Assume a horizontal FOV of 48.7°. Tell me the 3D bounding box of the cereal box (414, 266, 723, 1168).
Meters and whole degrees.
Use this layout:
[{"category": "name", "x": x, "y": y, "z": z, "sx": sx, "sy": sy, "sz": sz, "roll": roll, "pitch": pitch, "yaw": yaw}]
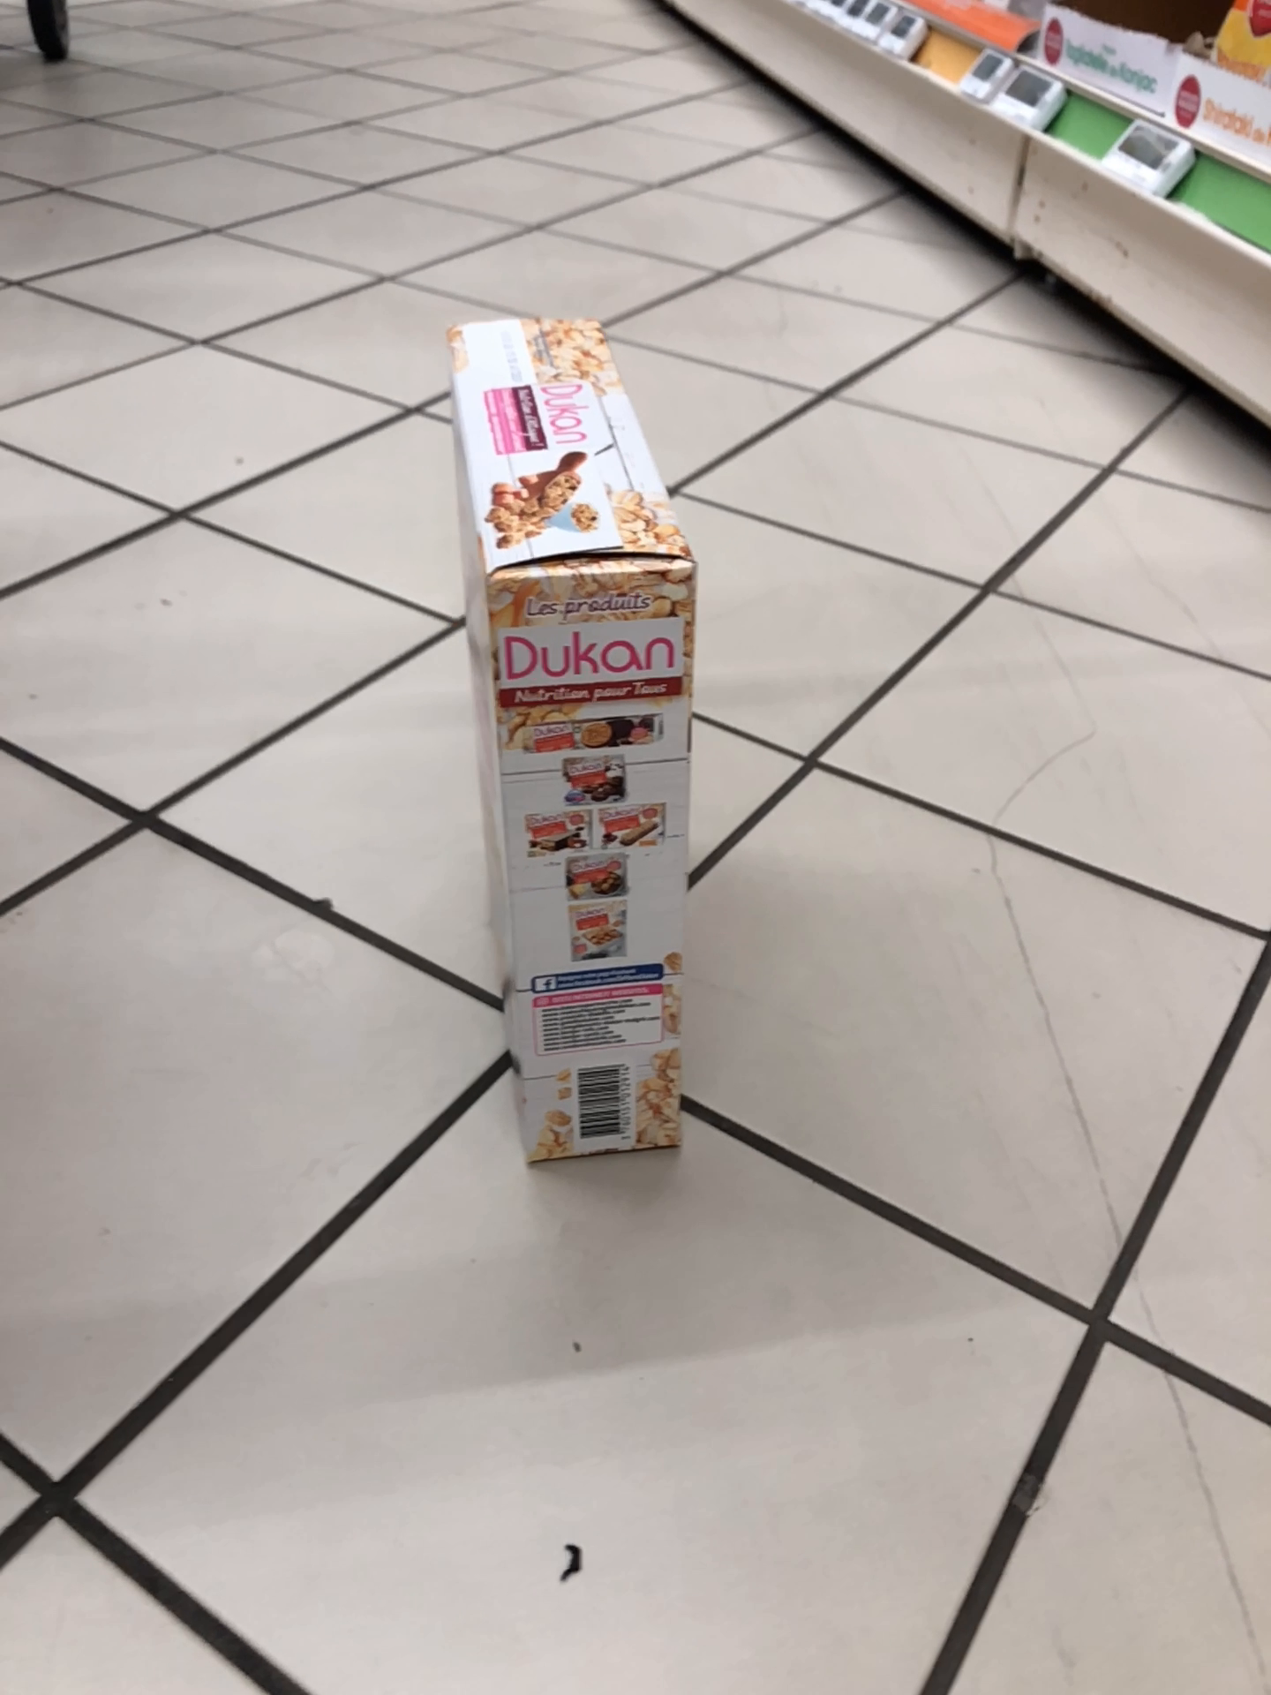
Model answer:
[{"category": "cereal box", "x": -0.029, "y": -0.046, "z": 0.428, "sx": 0.060, "sy": 0.199, "sz": 0.191, "roll": -4, "pitch": 38, "yaw": -8}]
